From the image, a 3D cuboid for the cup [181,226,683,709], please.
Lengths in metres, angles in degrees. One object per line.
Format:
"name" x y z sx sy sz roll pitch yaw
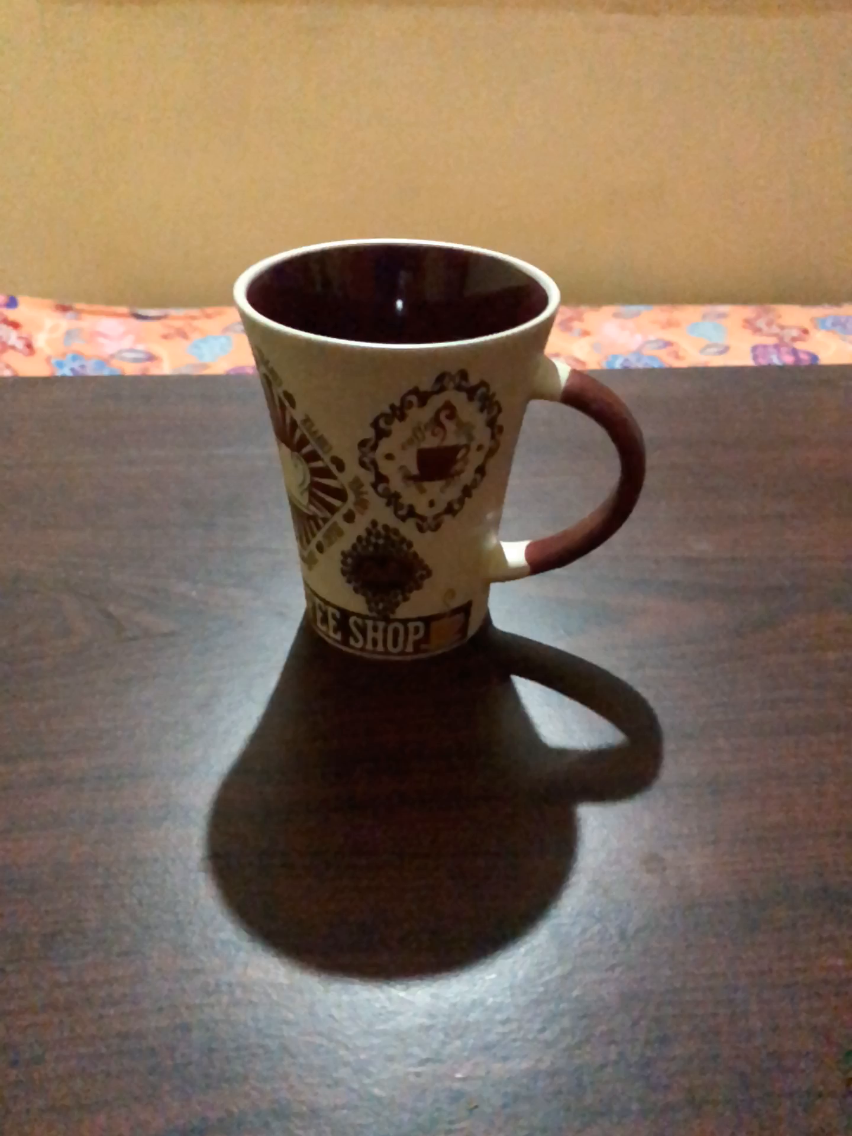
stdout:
"cup" 0.009 -0.037 0.292 0.120 0.099 0.101 9 34 11
